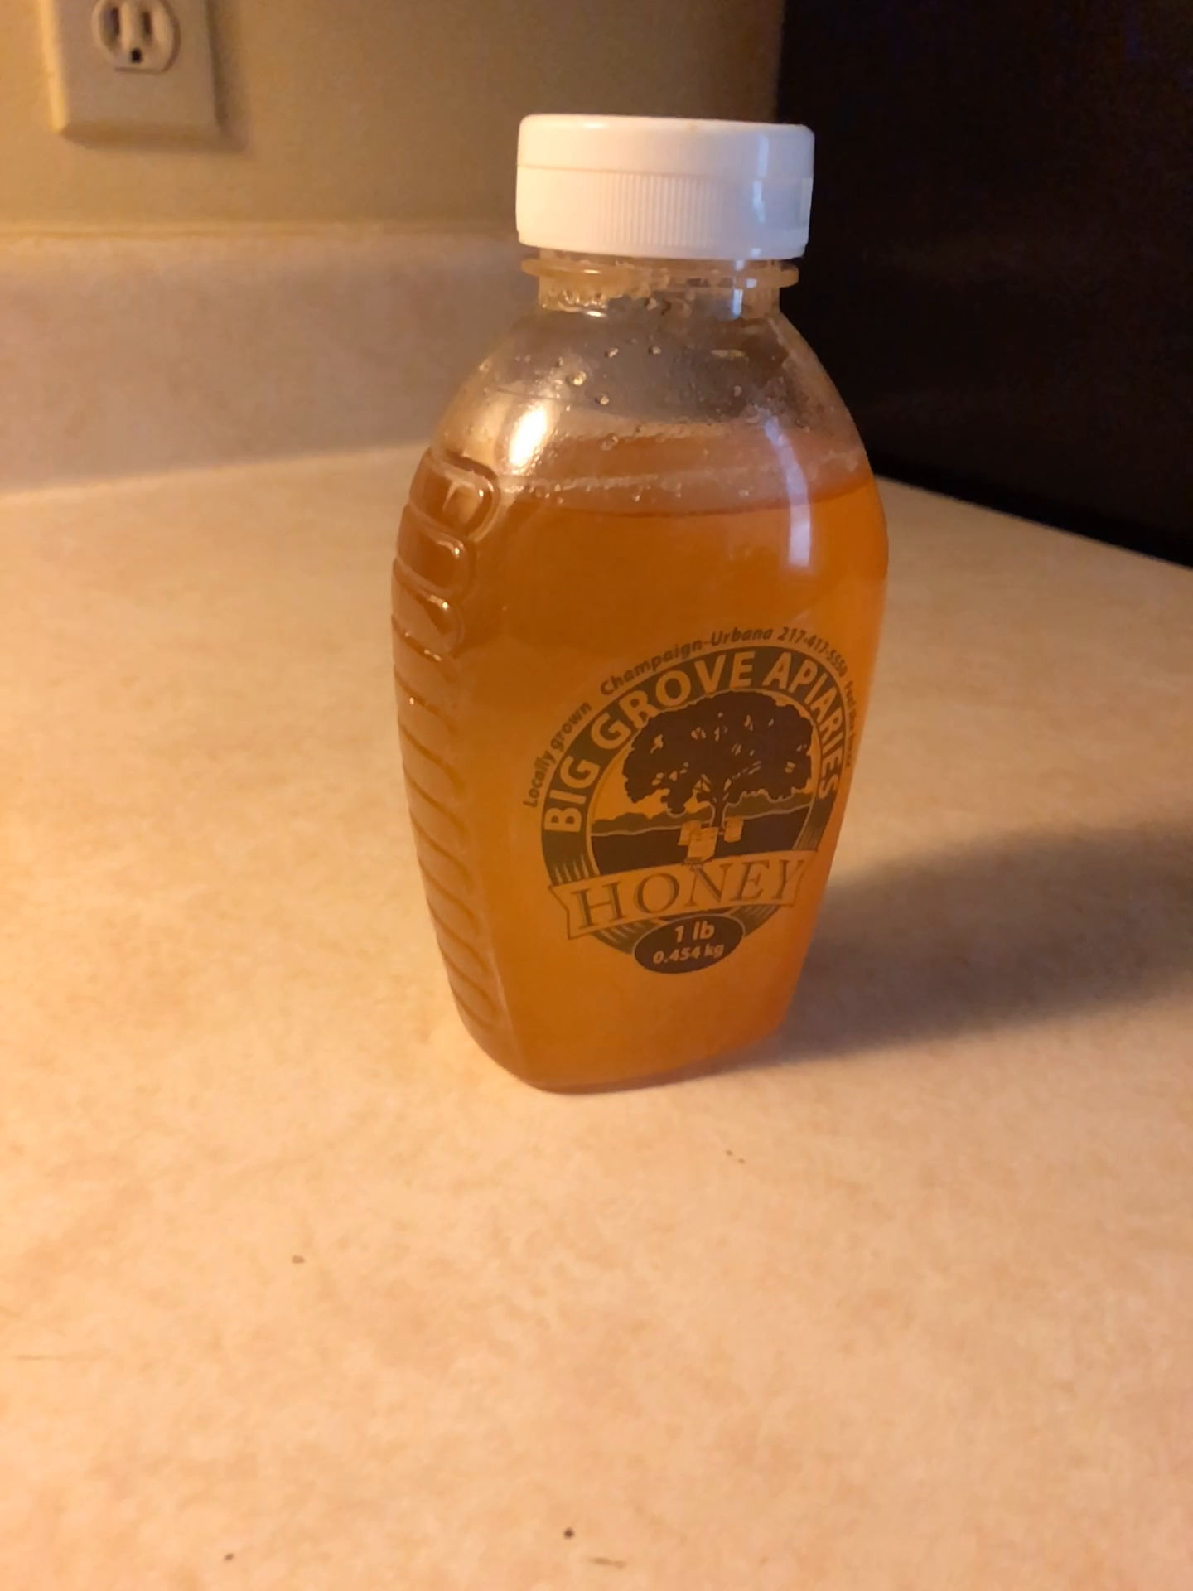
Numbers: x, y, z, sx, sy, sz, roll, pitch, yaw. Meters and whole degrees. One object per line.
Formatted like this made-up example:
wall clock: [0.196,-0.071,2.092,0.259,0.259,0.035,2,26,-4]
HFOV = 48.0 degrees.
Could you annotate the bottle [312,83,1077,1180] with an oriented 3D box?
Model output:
bottle: [0.008,-0.026,0.203,0.080,0.140,0.060,-10,28,-24]
